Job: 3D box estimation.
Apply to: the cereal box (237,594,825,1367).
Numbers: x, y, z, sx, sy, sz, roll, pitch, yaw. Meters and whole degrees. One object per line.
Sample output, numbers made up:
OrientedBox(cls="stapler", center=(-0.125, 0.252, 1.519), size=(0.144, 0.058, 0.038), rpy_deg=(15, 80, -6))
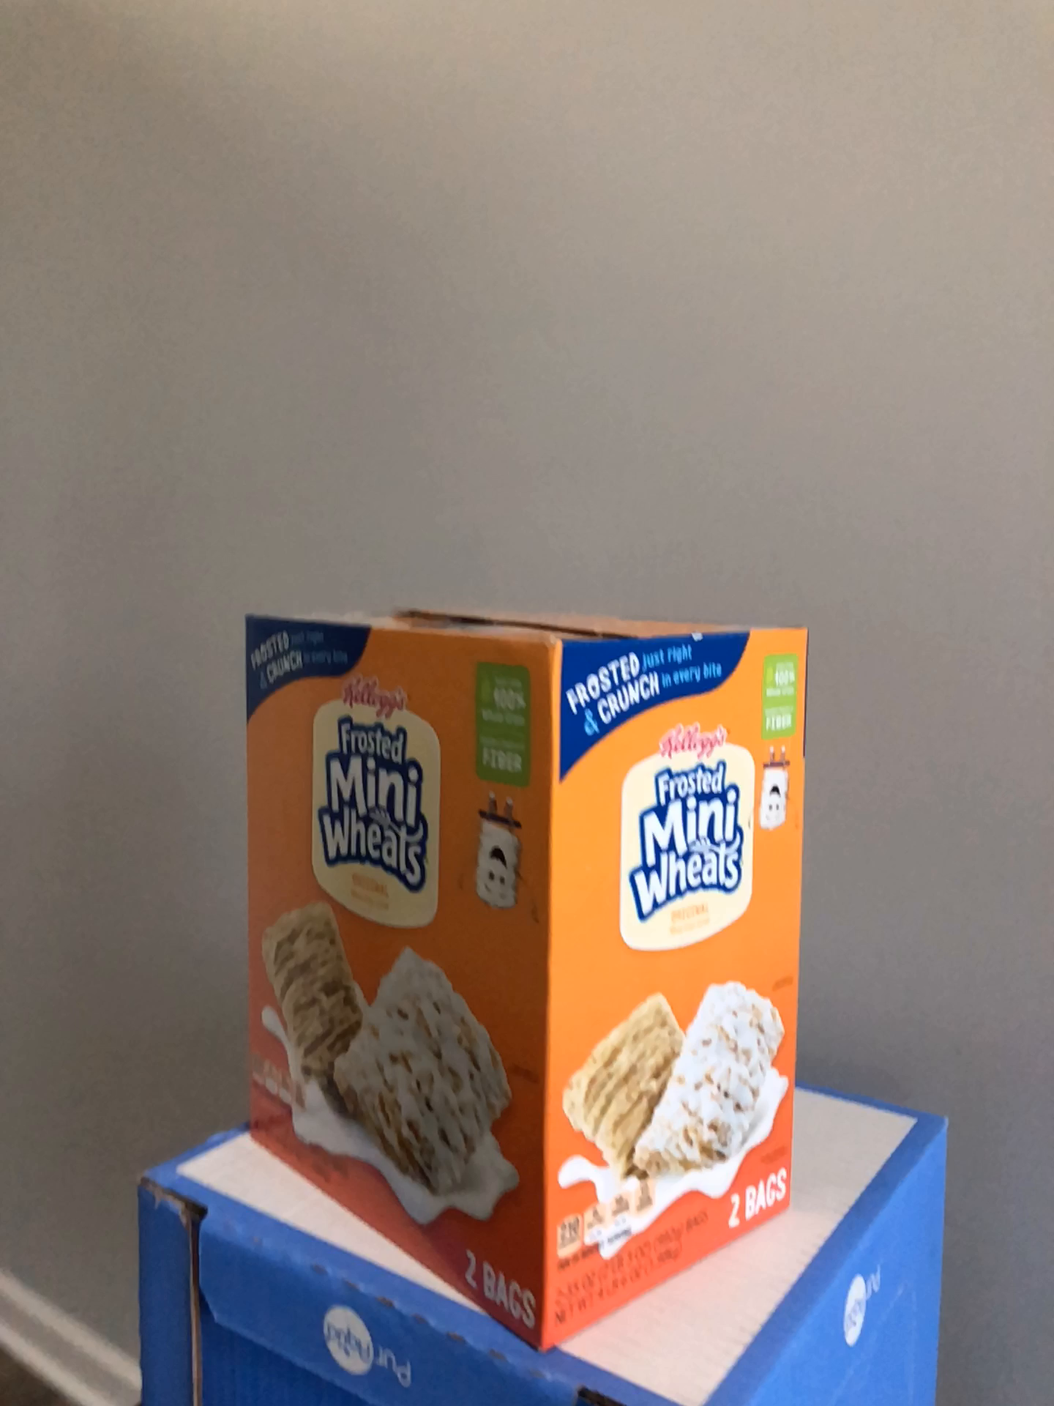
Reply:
OrientedBox(cls="cereal box", center=(-0.009, 0.094, 0.580), size=(0.160, 0.290, 0.250), rpy_deg=(-5, 8, -40))
